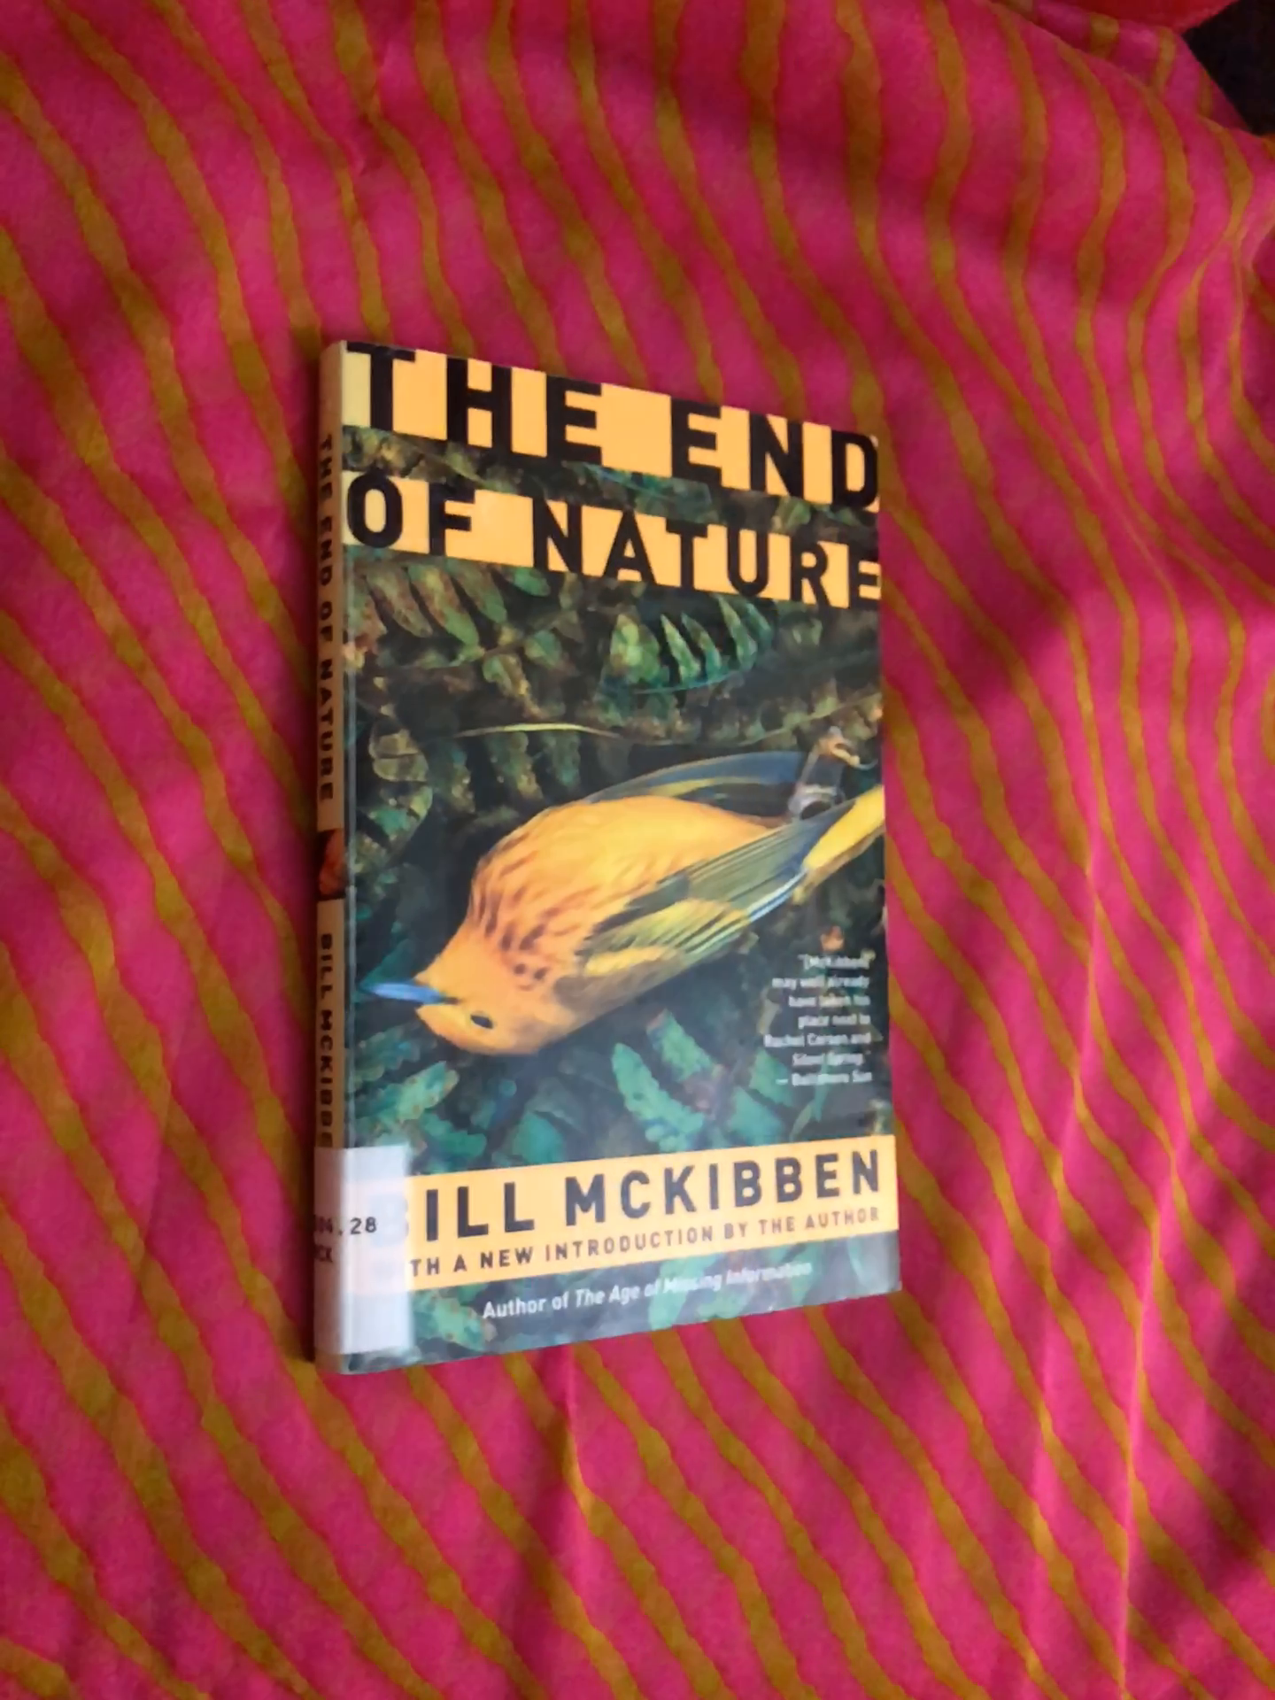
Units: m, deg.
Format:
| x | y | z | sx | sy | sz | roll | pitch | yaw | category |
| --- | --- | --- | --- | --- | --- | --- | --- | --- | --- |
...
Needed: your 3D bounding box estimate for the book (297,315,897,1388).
| x | y | z | sx | sy | sz | roll | pitch | yaw | category |
| --- | --- | --- | --- | --- | --- | --- | --- | --- | --- |
| -0.003 | 0.001 | 0.300 | 0.132 | 0.020 | 0.194 | 2 | 87 | -31 | book |
